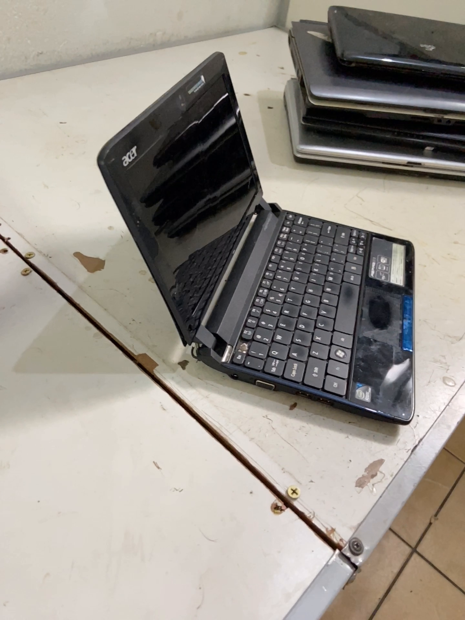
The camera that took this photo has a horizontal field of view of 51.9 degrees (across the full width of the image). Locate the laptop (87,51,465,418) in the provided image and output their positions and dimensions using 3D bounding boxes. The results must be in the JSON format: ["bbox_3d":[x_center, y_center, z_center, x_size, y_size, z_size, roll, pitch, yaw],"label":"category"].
[{"bbox_3d":[0.059,-0.088,0.423,0.259,0.144,0.254,17,44,6],"label":"laptop"}]
